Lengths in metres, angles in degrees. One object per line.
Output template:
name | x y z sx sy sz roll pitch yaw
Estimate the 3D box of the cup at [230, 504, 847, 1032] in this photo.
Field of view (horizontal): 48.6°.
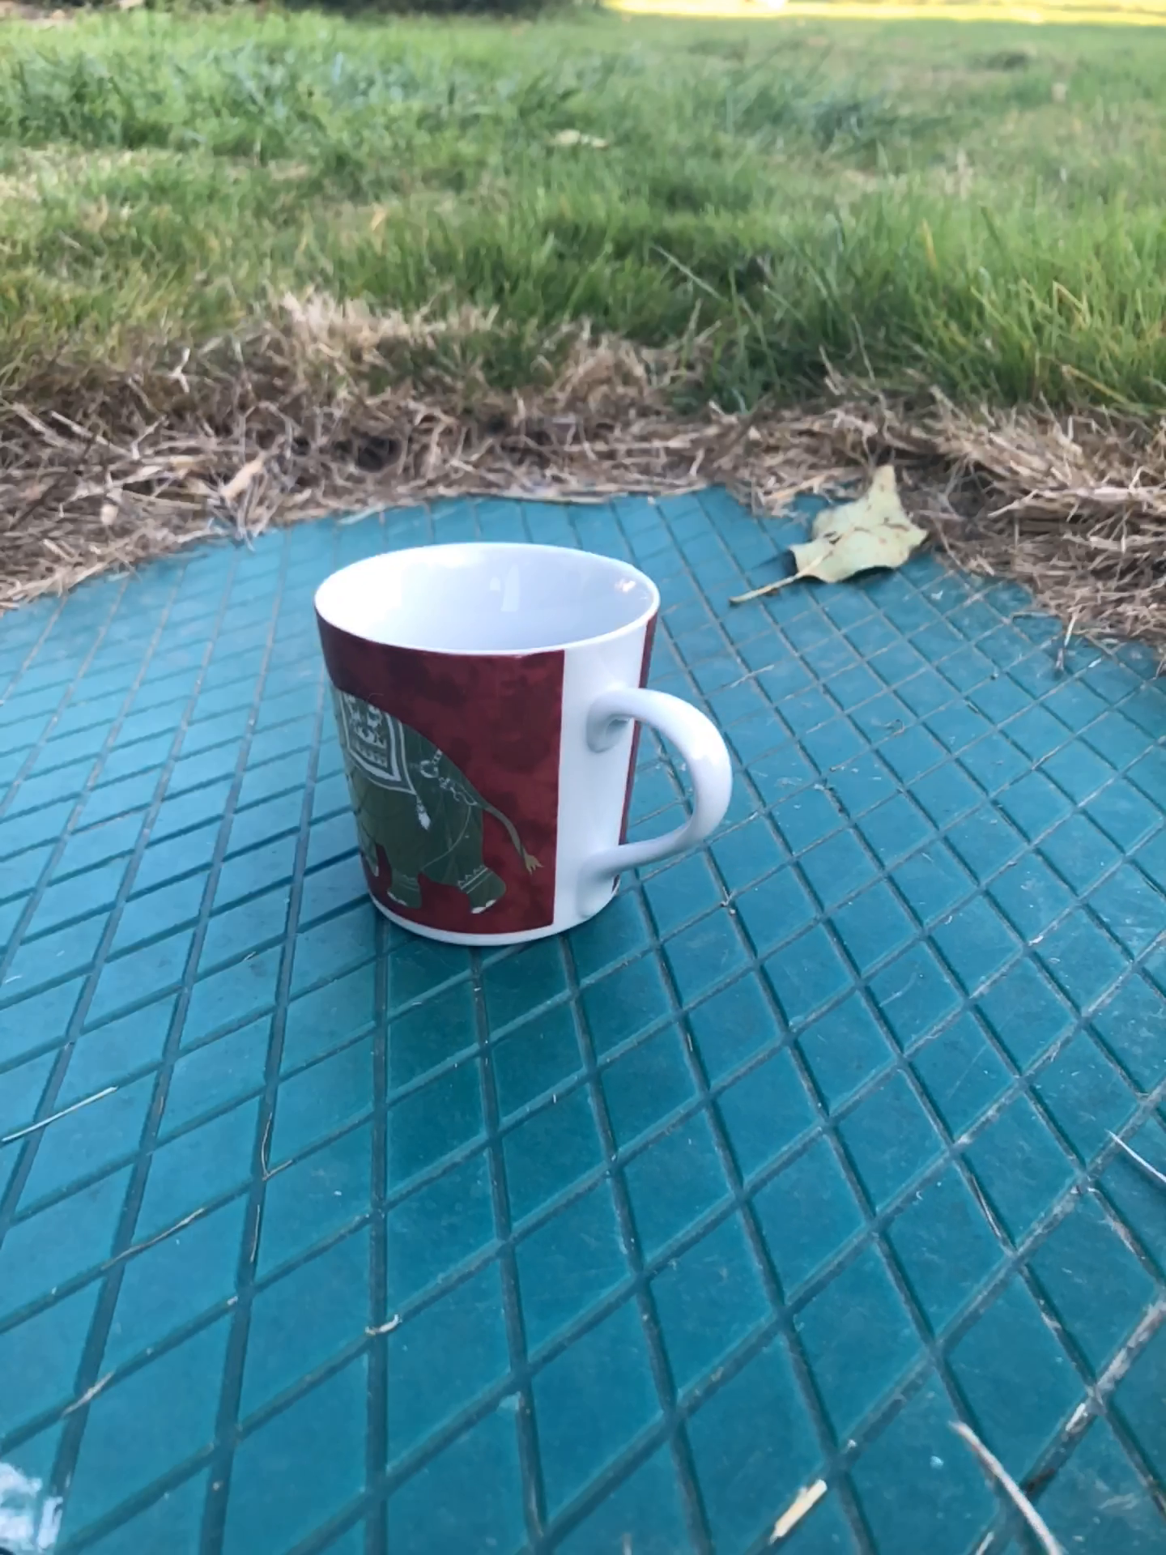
cup | -0.011 -0.011 0.299 0.110 0.070 0.082 22 34 37
